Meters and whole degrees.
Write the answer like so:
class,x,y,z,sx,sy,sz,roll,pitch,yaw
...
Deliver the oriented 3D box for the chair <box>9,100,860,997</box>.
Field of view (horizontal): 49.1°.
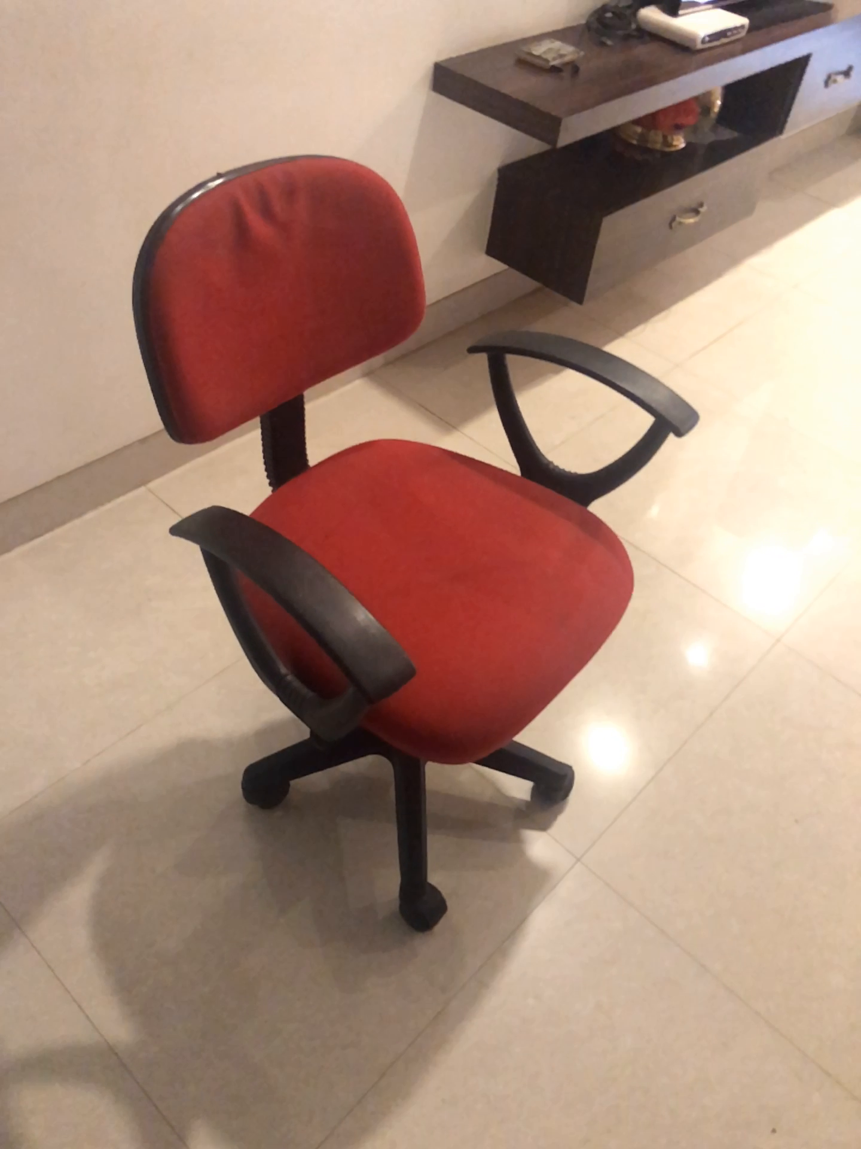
class,x,y,z,sx,sy,sz,roll,pitch,yaw
chair,-0.015,-0.039,1.142,0.601,0.725,0.542,35,51,24
